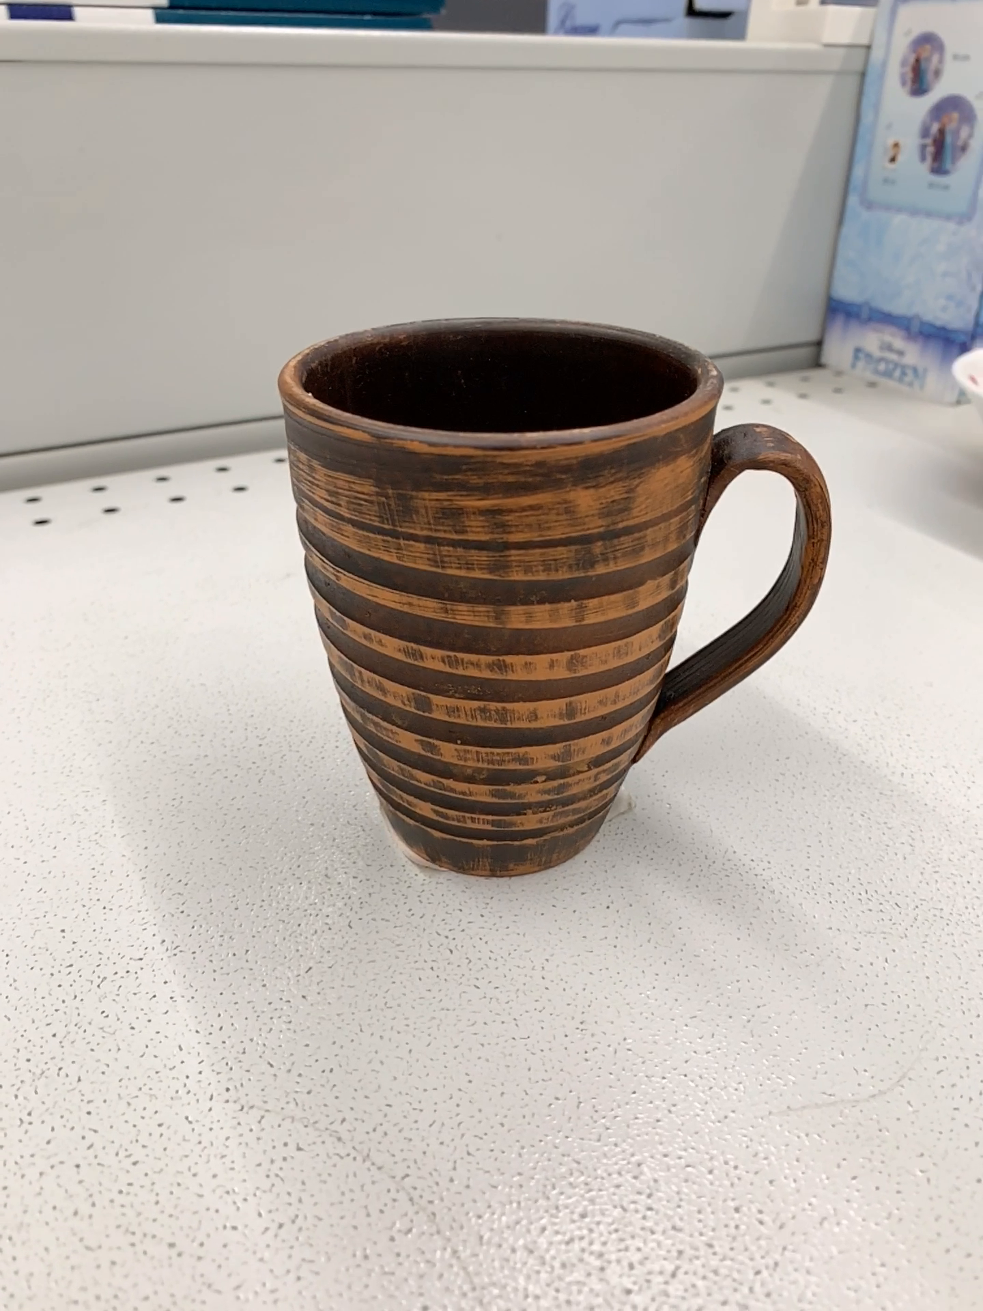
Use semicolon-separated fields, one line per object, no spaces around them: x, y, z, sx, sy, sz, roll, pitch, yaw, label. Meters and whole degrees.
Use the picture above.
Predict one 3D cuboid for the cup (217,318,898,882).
0.009;-0.016;0.217;0.105;0.089;0.084;-1;30;-2;cup
